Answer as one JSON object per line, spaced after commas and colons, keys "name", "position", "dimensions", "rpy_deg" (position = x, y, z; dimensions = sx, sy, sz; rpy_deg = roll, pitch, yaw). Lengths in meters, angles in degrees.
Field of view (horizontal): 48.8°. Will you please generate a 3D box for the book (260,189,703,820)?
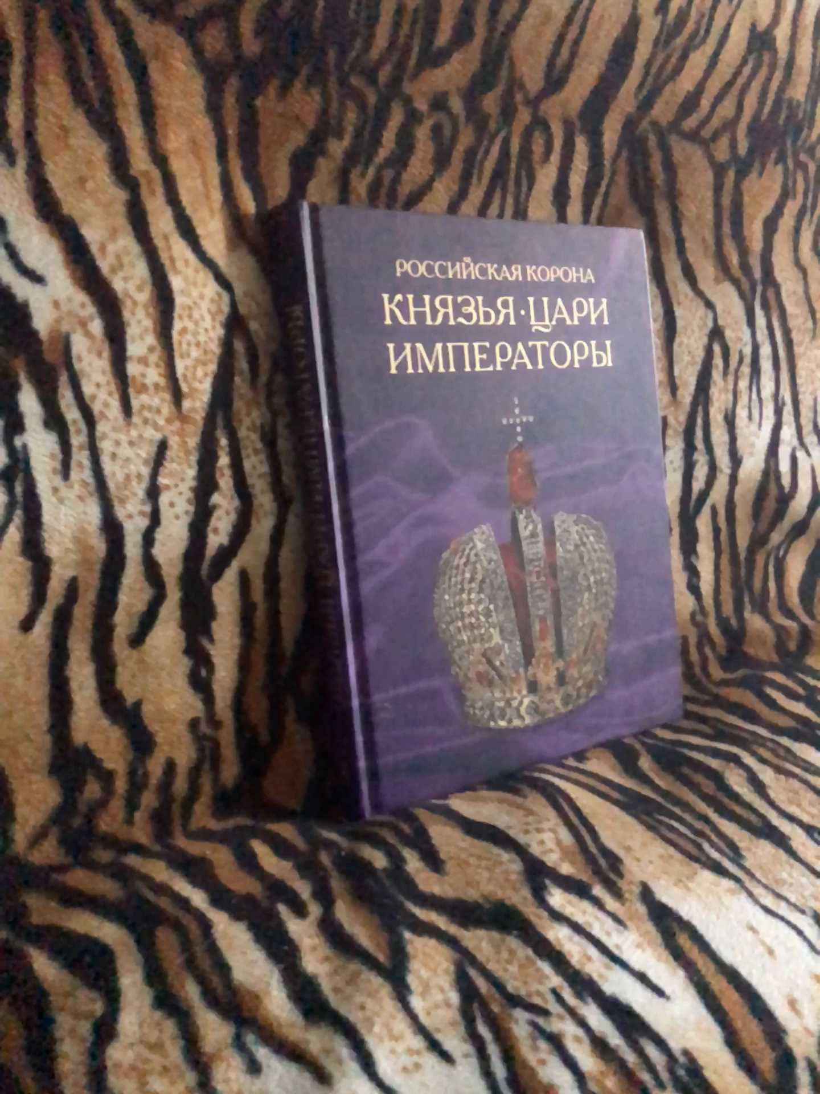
{"name": "book", "position": [0.050, -0.031, 0.470], "dimensions": [0.223, 0.280, 0.035], "rpy_deg": [-9, 5, -30]}
